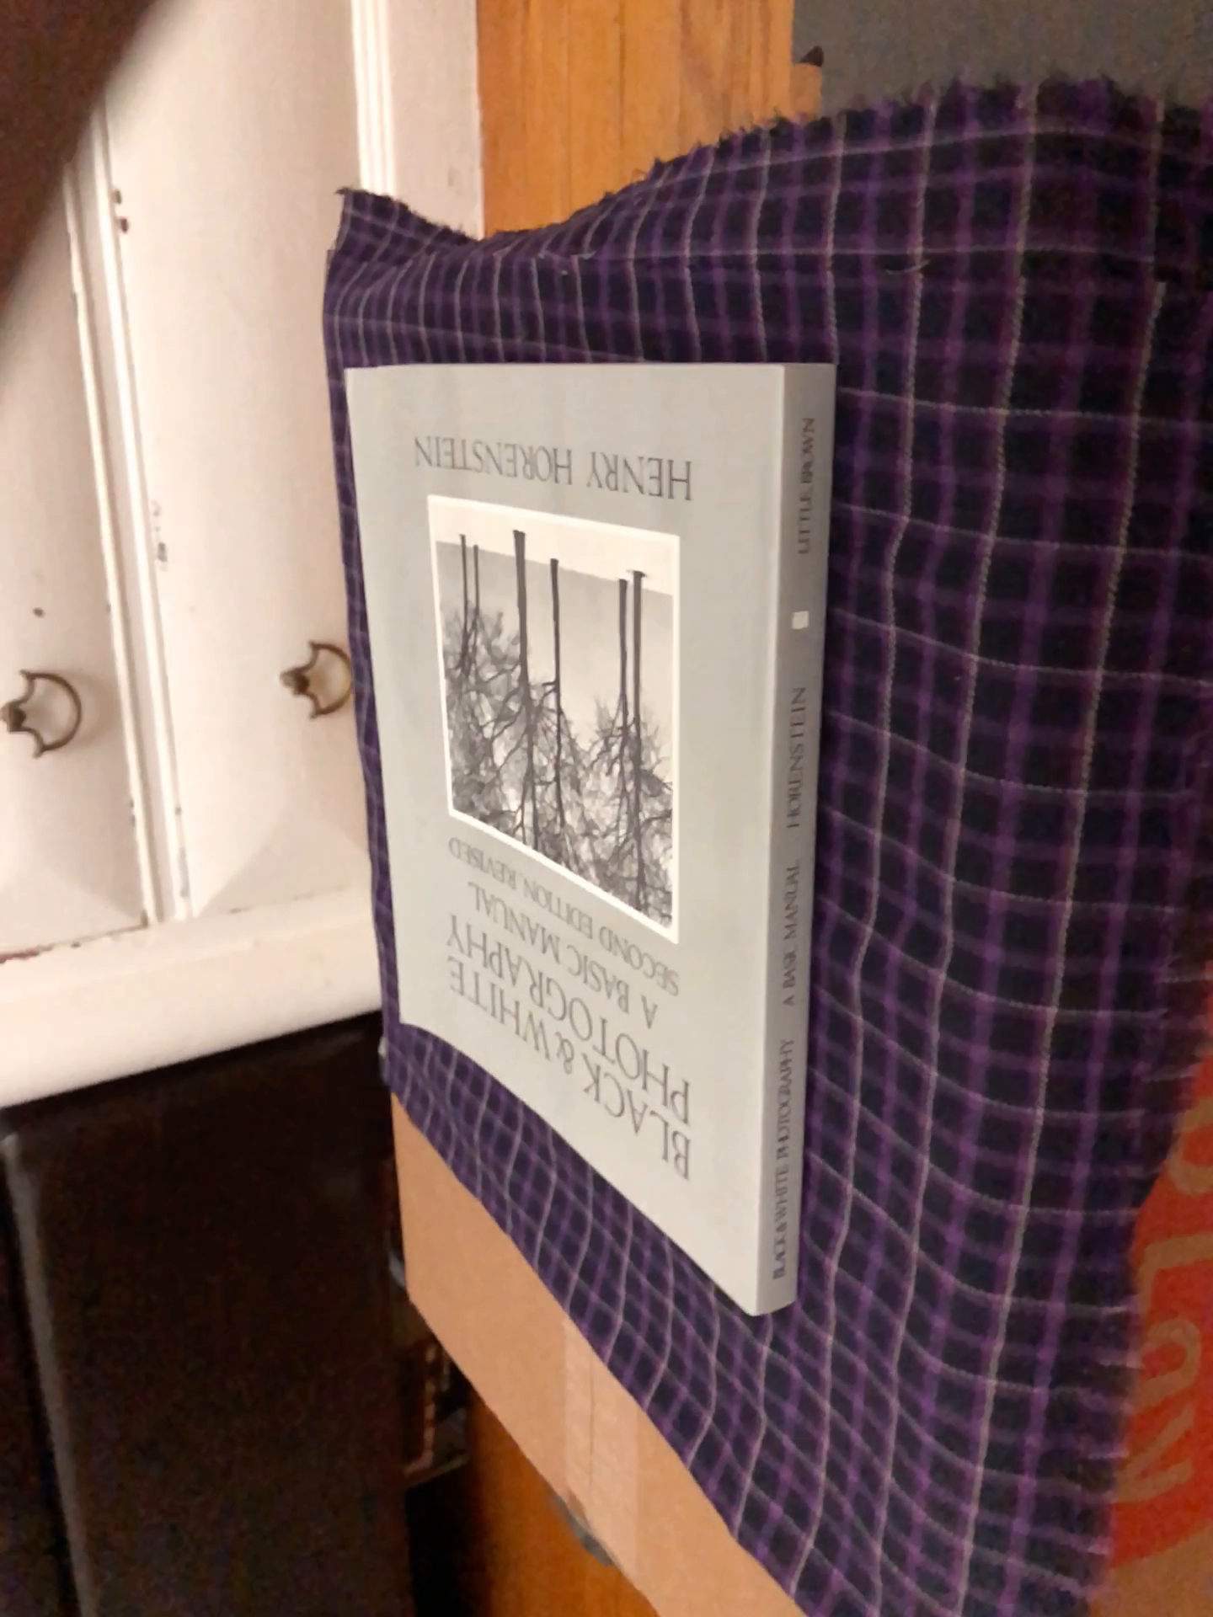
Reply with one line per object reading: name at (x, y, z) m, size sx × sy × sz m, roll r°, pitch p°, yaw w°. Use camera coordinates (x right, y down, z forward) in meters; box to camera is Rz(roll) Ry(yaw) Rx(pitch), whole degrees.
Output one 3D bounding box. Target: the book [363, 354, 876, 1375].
book at (-0.010, -0.002, 0.401) m, size 0.211 × 0.030 × 0.250 m, roll 26°, pitch 122°, yaw 54°
